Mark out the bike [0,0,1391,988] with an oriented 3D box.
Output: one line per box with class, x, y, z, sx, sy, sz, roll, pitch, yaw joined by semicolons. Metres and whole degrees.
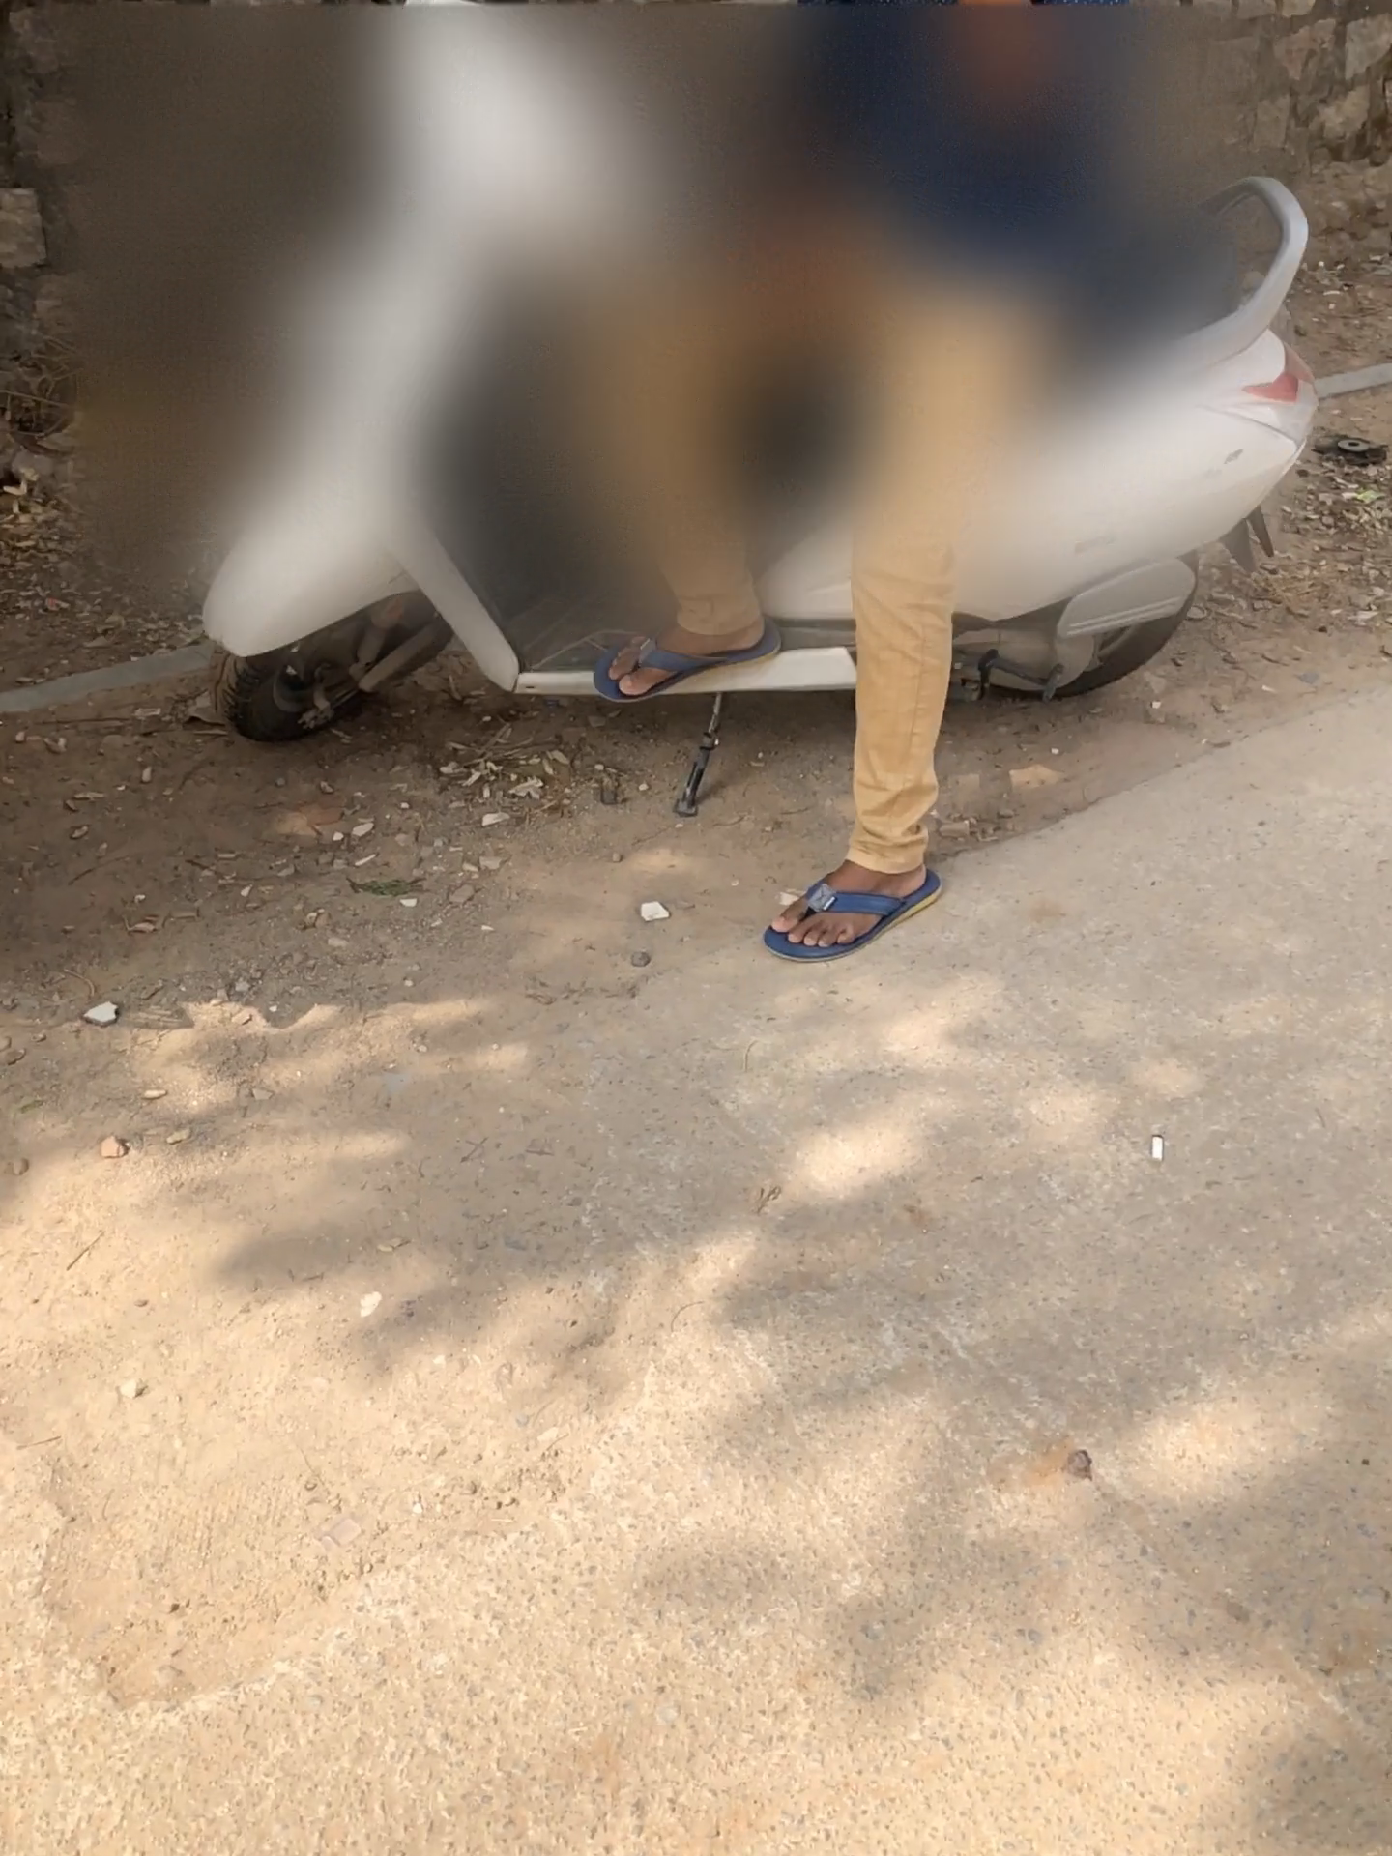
bike;0.033;-0.674;2.089;1.588;1.199;0.625;-8;37;-7
